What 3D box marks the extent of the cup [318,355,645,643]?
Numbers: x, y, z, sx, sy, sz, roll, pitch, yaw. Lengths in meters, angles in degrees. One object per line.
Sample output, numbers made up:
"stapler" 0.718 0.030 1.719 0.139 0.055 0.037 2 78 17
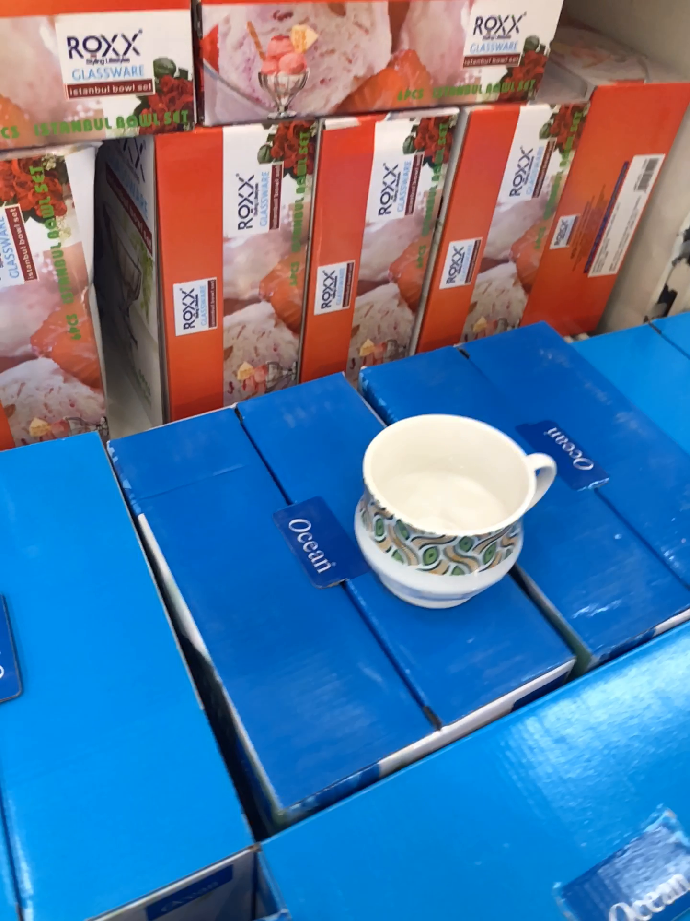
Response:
"cup" 0.052 0.012 0.315 0.100 0.060 0.070 -18 50 -25
